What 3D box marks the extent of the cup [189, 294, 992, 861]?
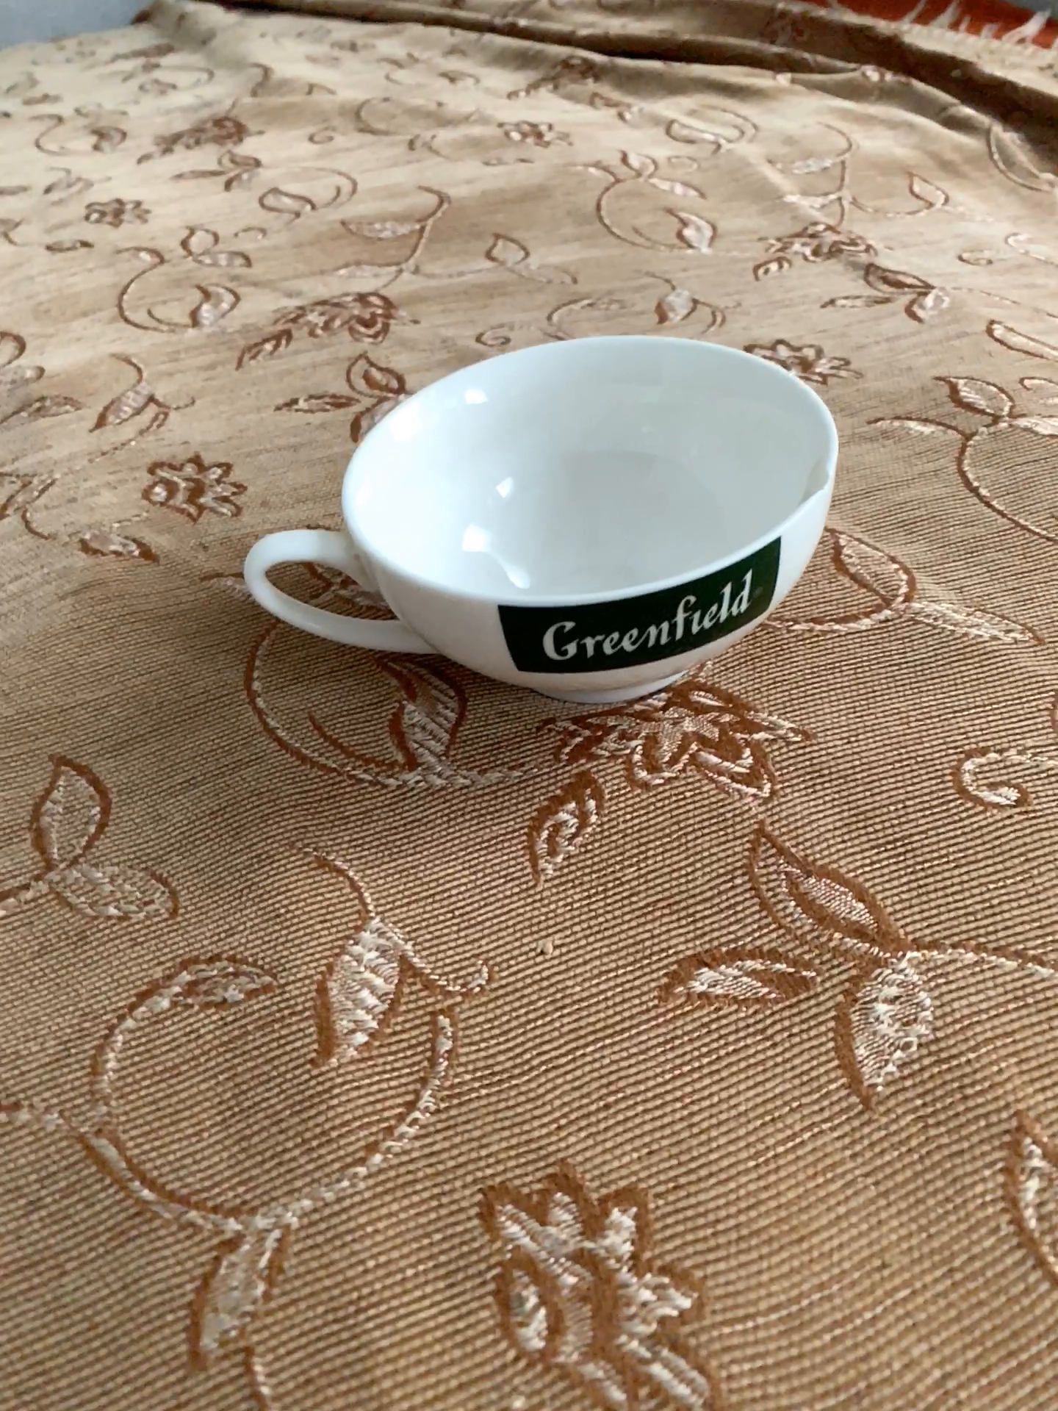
[{"bbox_3d":[0.003,-0.037,0.240,0.140,0.040,0.111,-14,42,-7],"label":"cup"}]
